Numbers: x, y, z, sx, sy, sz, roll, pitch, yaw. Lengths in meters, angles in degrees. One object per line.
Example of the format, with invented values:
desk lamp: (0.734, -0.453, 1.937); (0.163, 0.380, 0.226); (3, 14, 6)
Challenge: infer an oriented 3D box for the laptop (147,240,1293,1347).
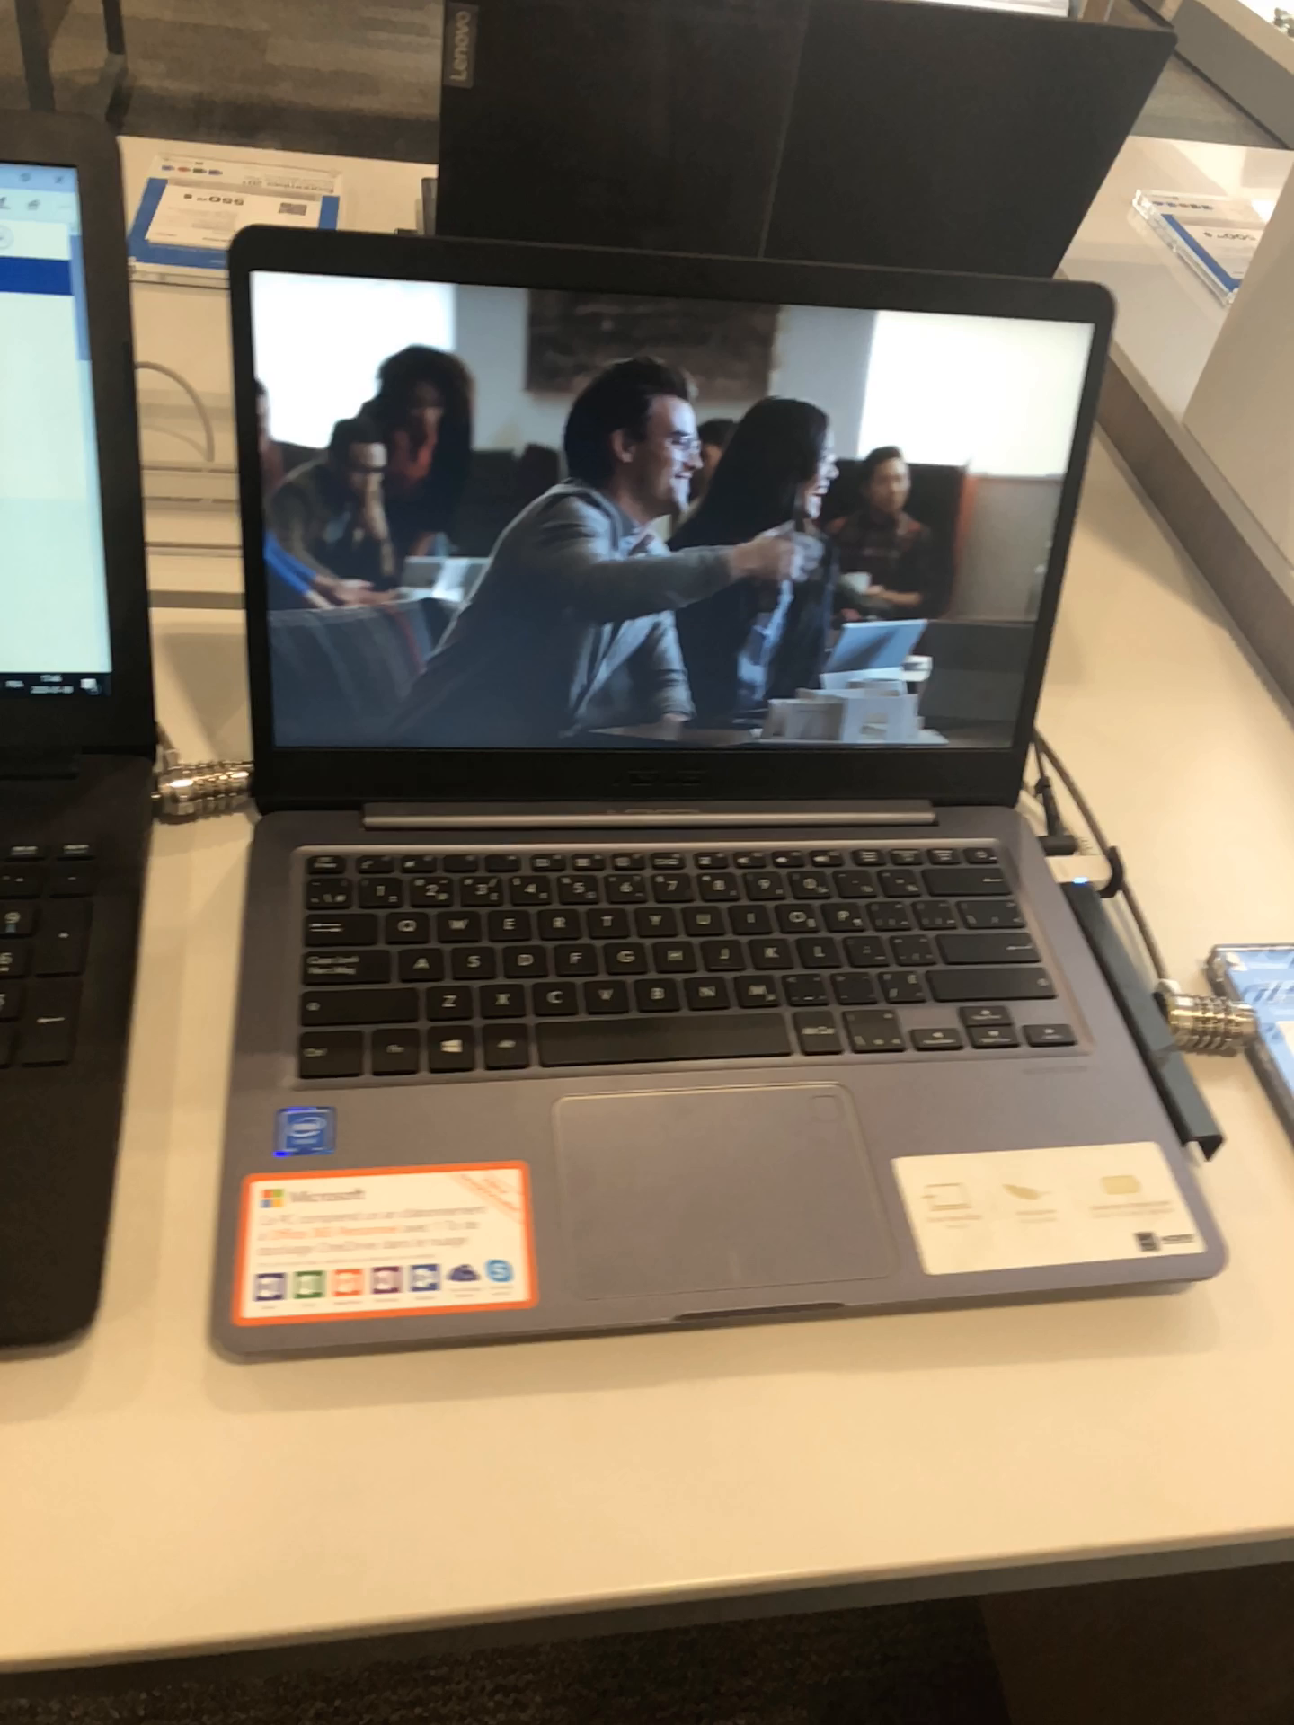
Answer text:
laptop: (0.028, -0.038, 0.472); (0.316, 0.196, 0.292); (-1, 46, -11)
